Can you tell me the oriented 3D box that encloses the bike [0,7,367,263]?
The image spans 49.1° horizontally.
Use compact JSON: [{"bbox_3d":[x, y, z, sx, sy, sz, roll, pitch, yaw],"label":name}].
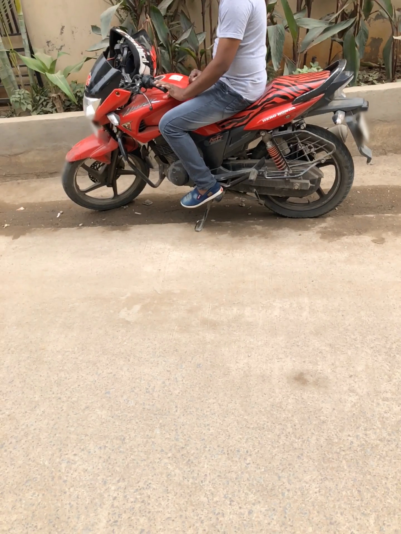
[{"bbox_3d":[-0.024,-0.740,2.603,1.786,1.207,0.694,2,35,12],"label":"bike"}]
